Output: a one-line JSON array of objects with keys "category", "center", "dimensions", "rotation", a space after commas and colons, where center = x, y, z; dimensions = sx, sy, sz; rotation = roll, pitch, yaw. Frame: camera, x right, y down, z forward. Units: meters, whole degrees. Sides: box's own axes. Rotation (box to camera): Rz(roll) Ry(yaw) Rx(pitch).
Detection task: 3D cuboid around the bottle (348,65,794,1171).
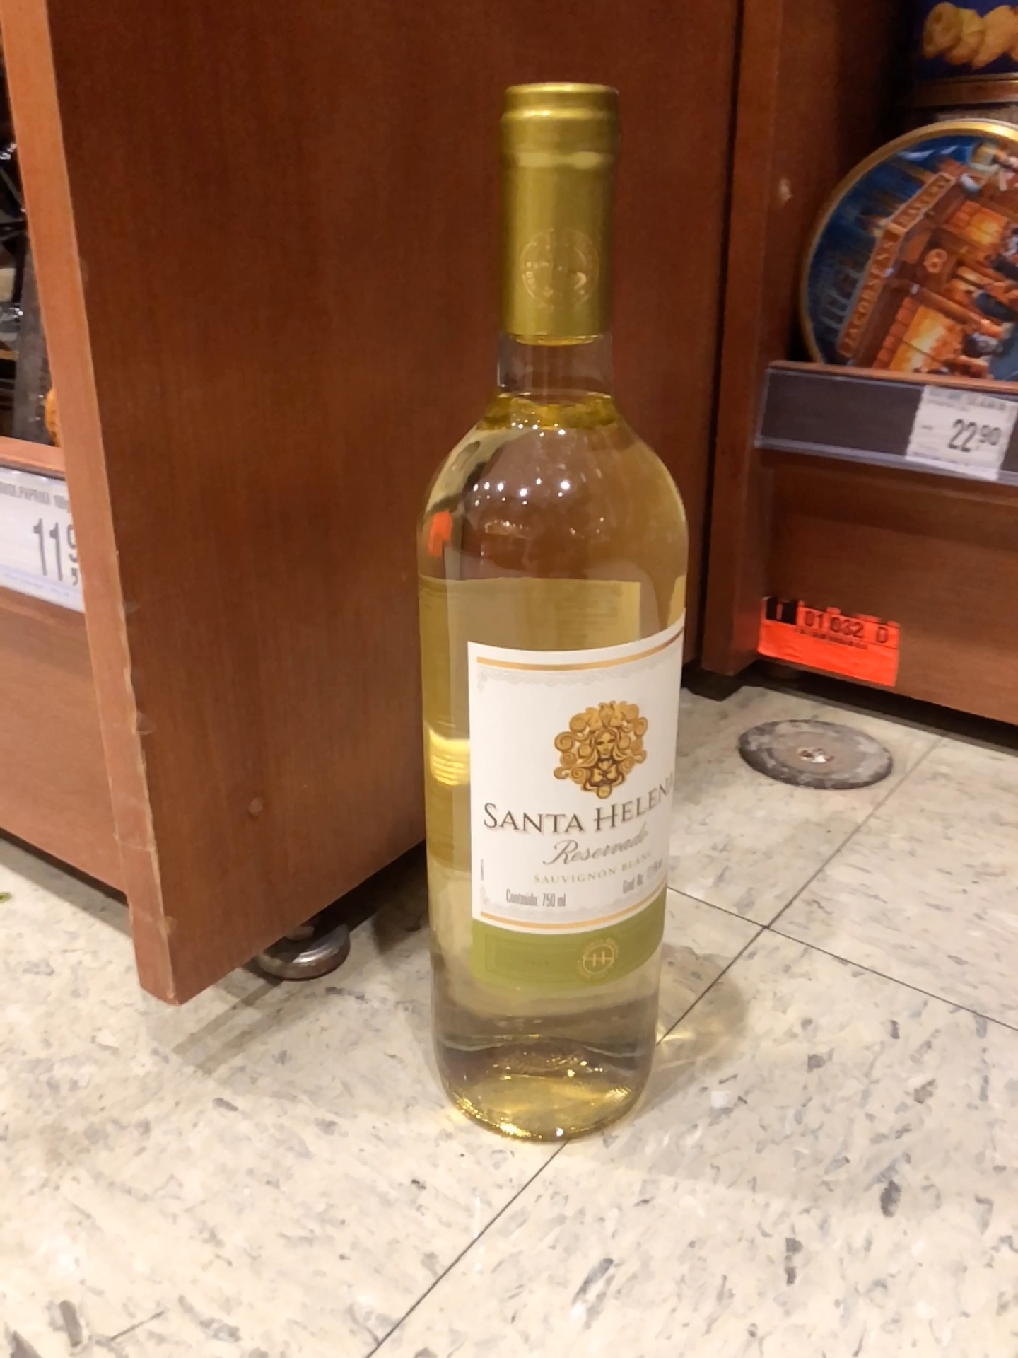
[{"category": "bottle", "center": [0.012, -0.007, 0.309], "dimensions": [0.080, 0.278, 0.070], "rotation": [-8, 24, -18]}]
